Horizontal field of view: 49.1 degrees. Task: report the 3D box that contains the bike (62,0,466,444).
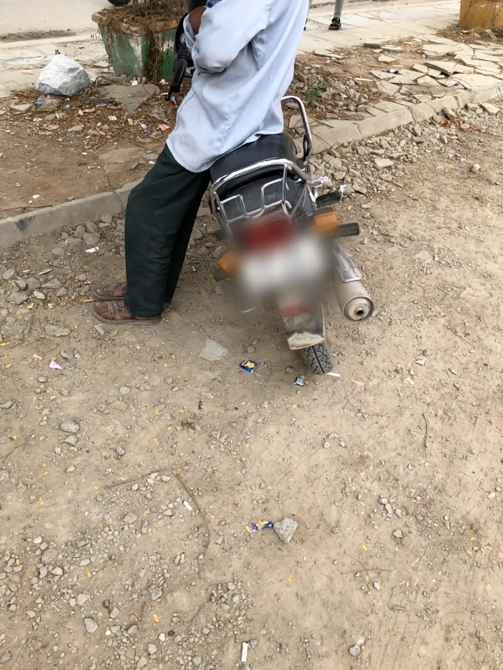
[{"bbox_3d":[-0.153,-0.672,1.940,0.740,1.170,1.602,-5,42,-11],"label":"bike"}]
